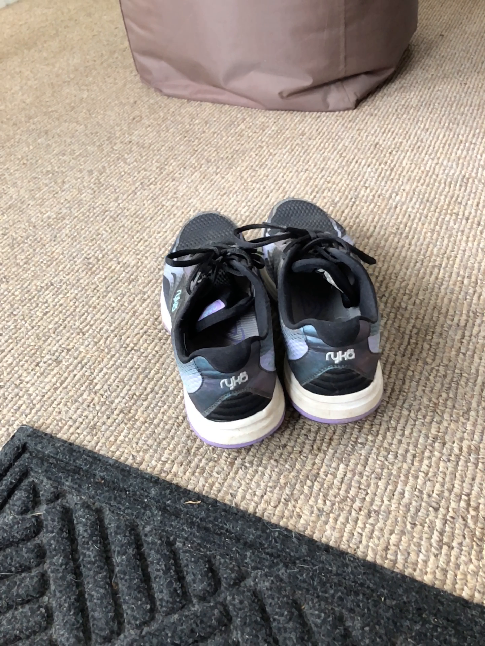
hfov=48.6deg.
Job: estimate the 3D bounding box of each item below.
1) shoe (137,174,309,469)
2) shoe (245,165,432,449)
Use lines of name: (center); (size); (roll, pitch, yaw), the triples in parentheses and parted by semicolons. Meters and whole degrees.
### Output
shoe: (-0.028, -0.017, 0.489); (0.110, 0.103, 0.258); (-9, 45, -5)
shoe: (0.069, -0.029, 0.495); (0.102, 0.103, 0.258); (-6, 45, -2)
